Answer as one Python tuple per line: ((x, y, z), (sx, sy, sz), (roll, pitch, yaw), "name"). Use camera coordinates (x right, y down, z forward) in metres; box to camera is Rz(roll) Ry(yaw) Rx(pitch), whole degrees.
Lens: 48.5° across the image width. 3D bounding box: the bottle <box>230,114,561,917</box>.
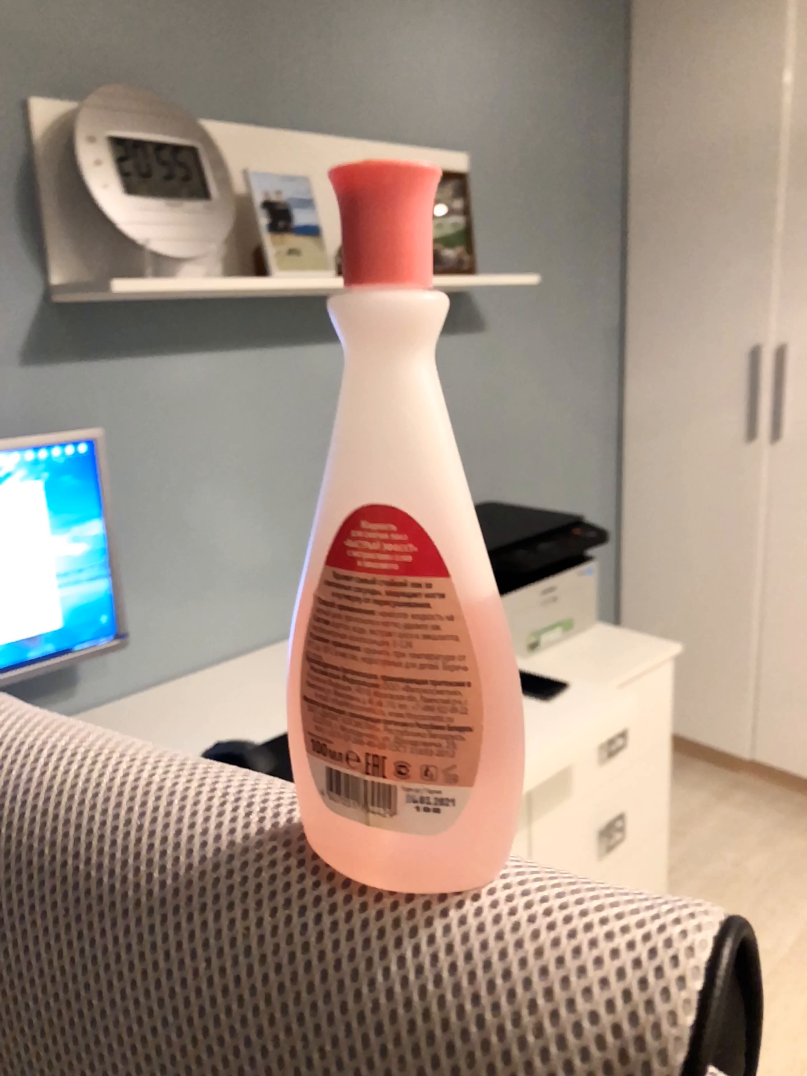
((0.002, -0.002, 0.199), (0.056, 0.157, 0.039), (4, 15, 21), "bottle")
